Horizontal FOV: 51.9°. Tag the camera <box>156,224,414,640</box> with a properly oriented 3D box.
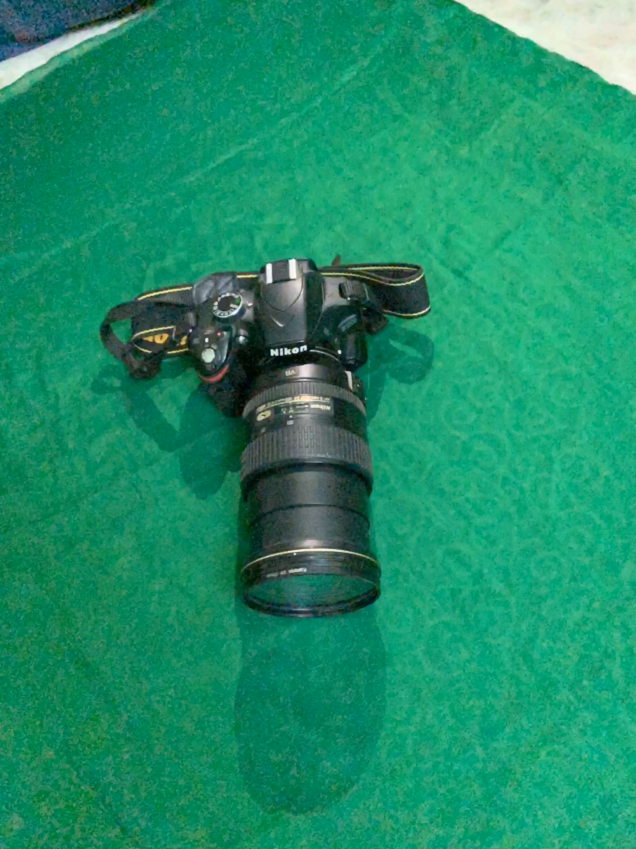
[{"bbox_3d":[-0.016,0.001,0.409,0.122,0.088,0.234,-7,60,8],"label":"camera"}]
